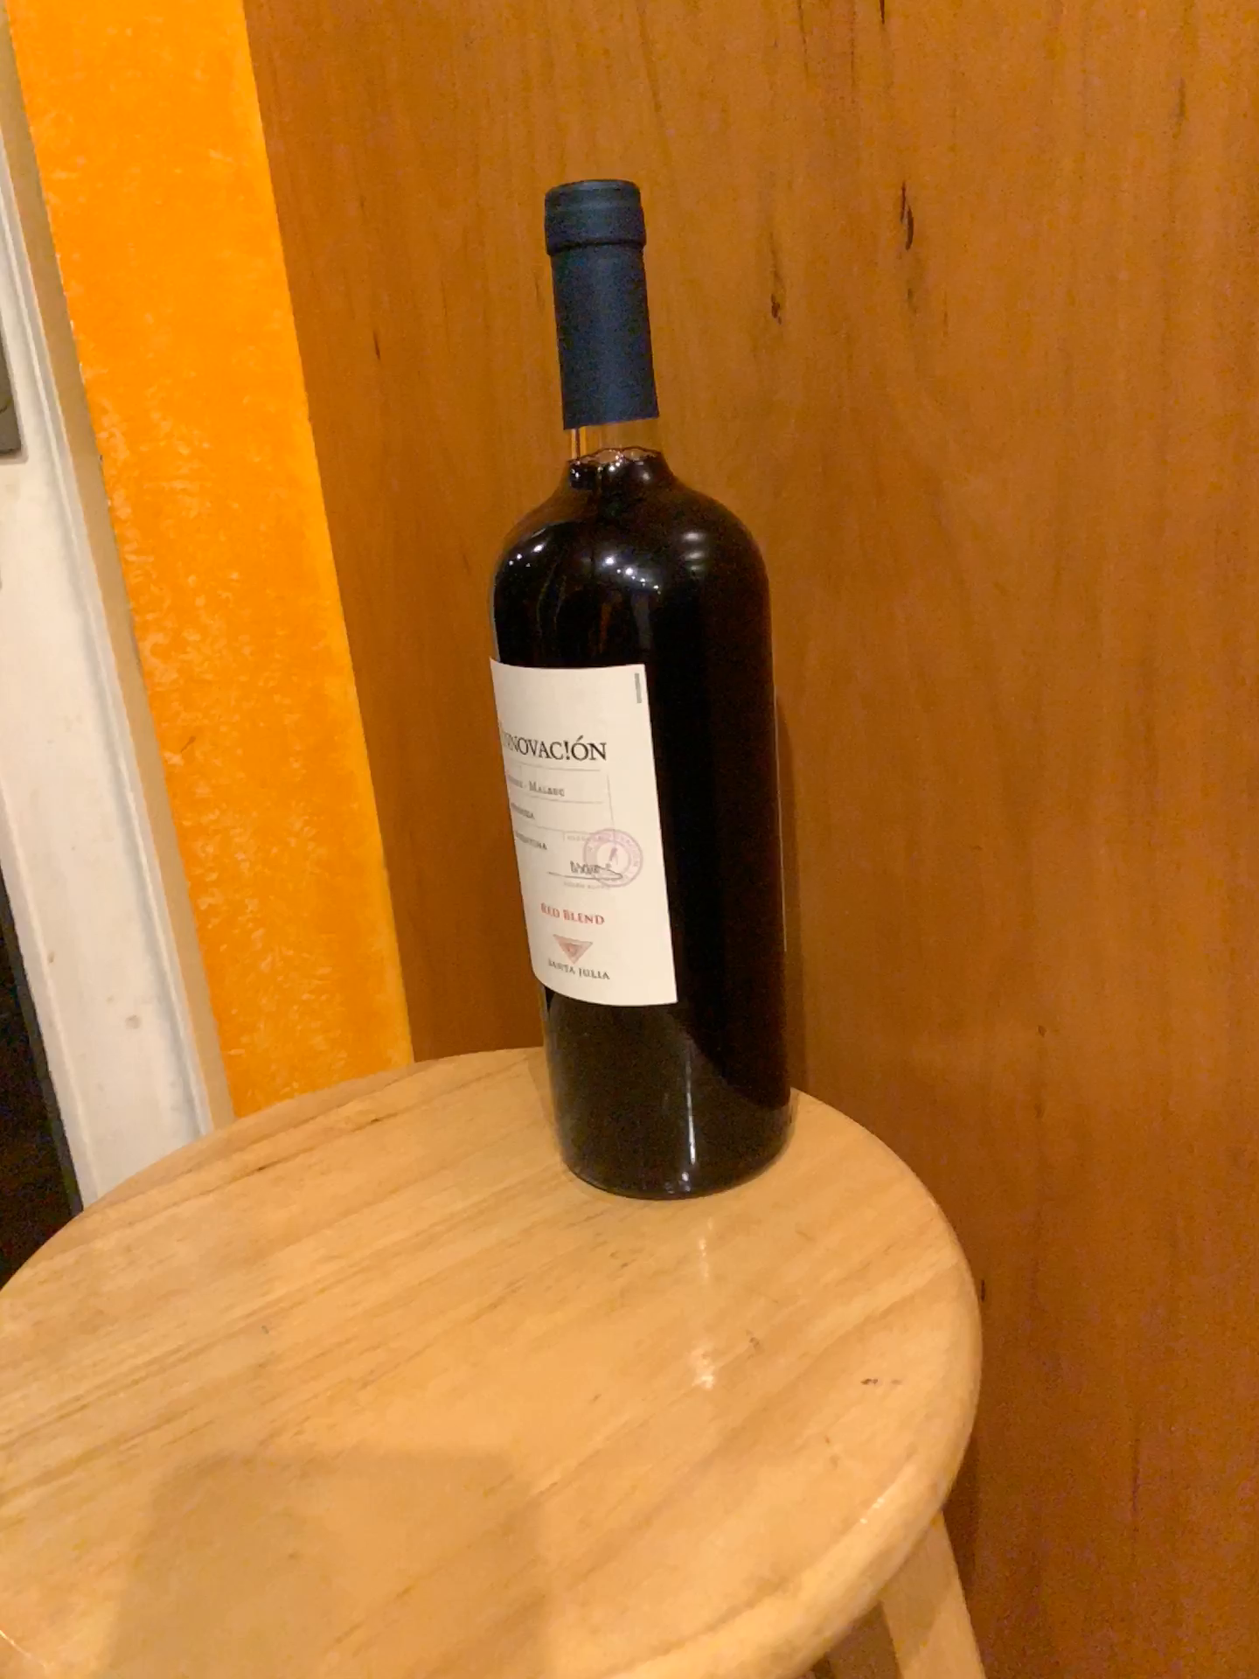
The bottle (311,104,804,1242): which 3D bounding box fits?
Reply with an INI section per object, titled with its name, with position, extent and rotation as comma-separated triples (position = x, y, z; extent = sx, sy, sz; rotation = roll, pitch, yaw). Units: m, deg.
[bottle]
position = -0.015, -0.043, 0.395
extent = 0.080, 0.299, 0.090
rotation = -19, 21, -38
